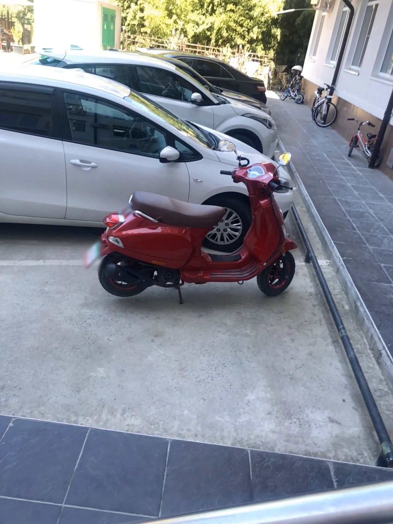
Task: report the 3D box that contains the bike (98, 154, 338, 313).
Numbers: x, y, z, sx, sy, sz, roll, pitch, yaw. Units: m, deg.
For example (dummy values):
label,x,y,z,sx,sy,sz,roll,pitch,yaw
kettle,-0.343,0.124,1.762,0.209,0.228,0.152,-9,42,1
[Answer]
label,x,y,z,sx,sy,sz,roll,pitch,yaw
bike,0.105,-0.236,3.199,1.594,0.950,0.537,-2,29,-18
